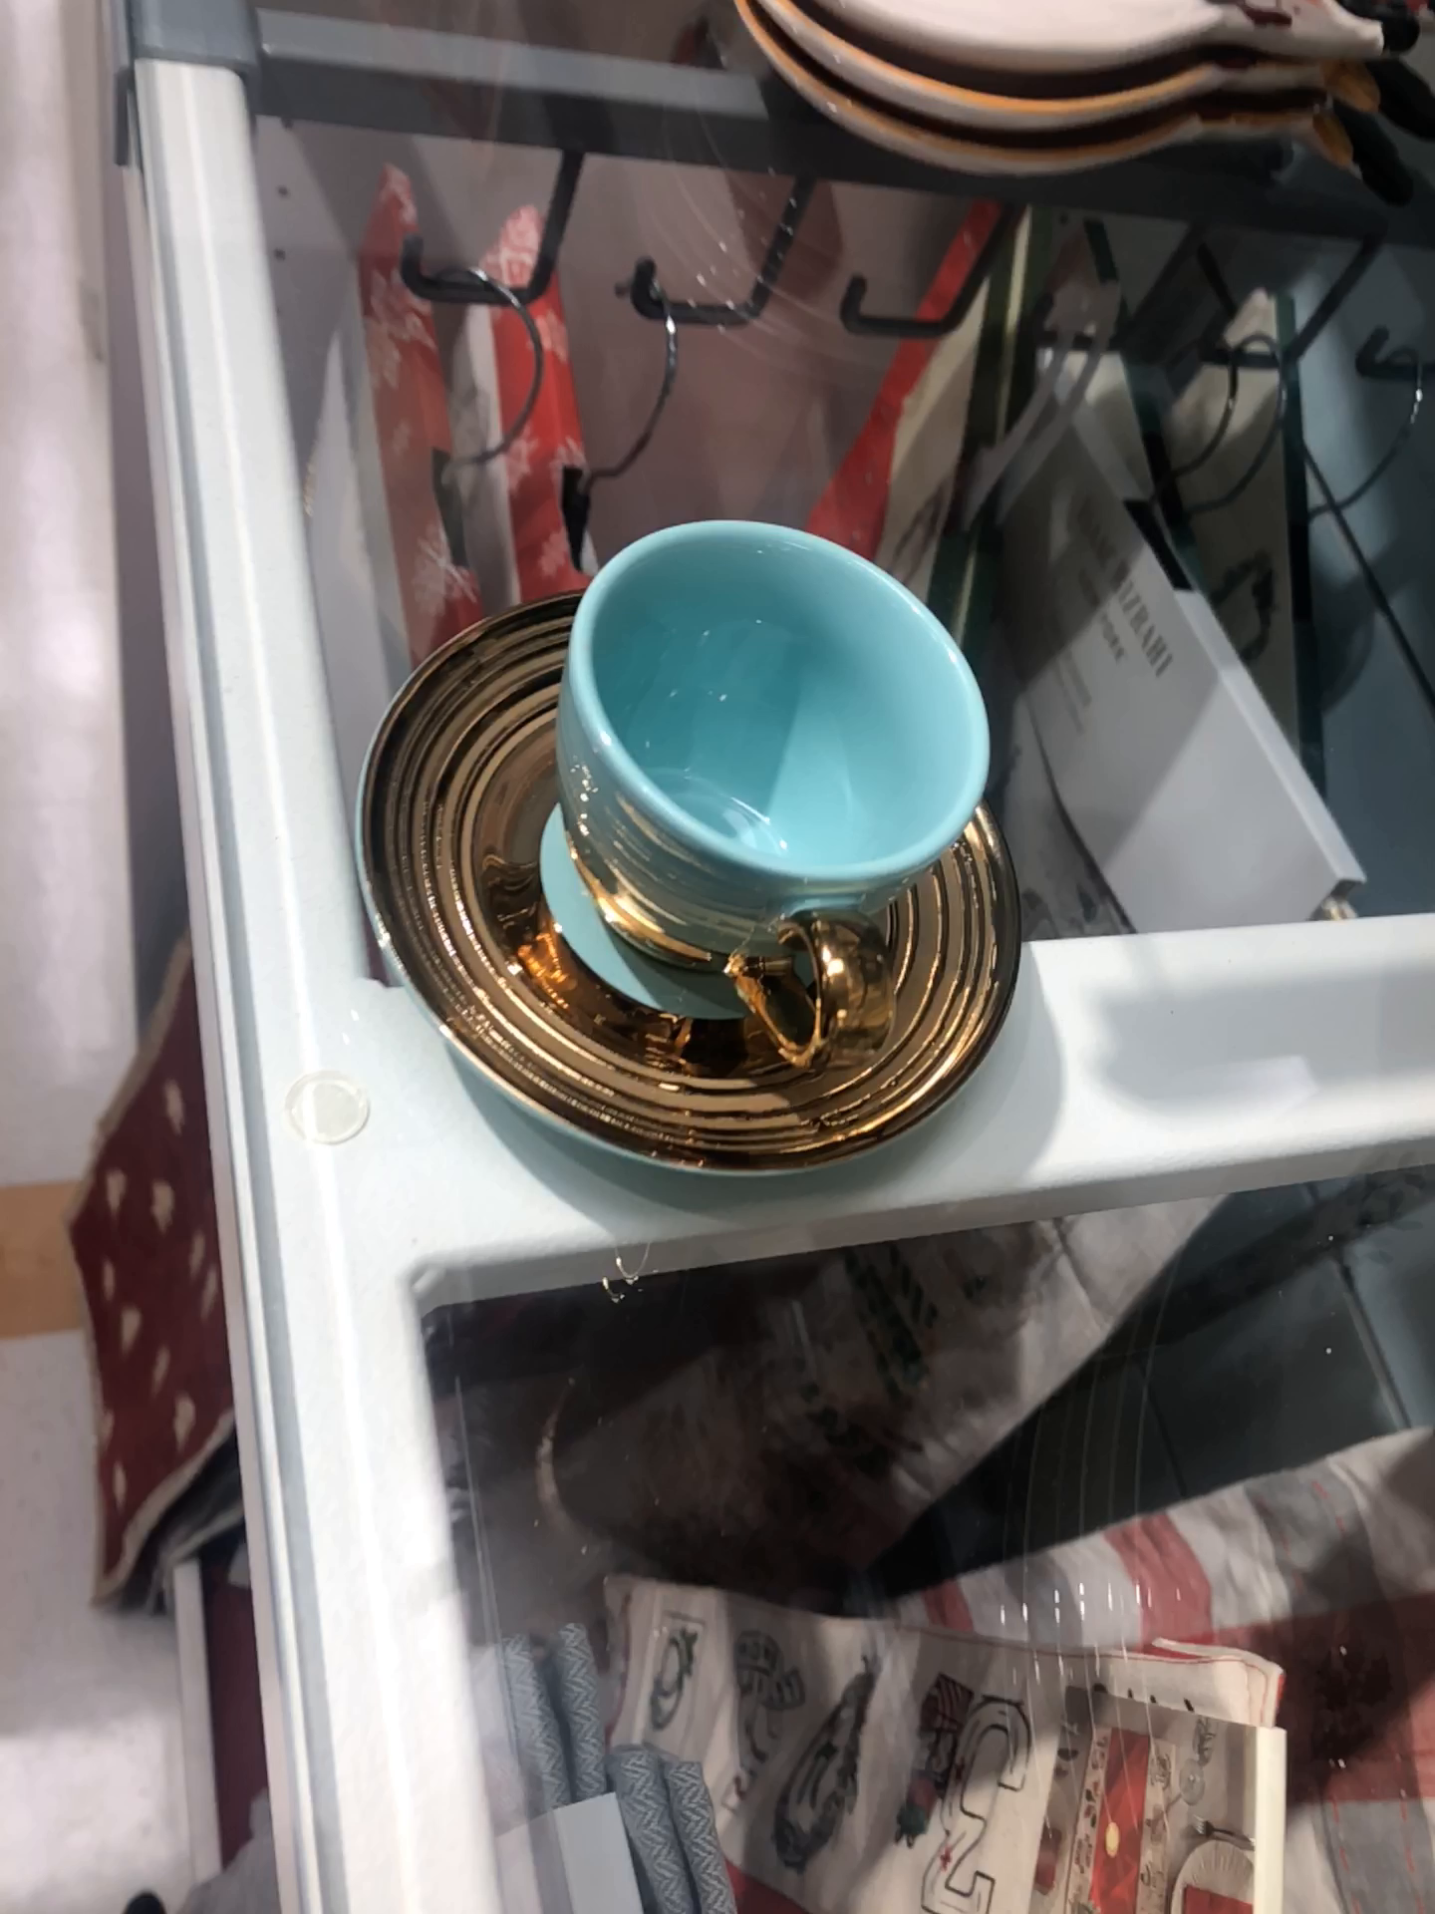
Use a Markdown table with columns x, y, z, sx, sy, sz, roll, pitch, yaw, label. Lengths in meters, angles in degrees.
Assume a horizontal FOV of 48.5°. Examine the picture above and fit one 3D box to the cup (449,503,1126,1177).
| x | y | z | sx | sy | sz | roll | pitch | yaw | label |
| --- | --- | --- | --- | --- | --- | --- | --- | --- | --- |
| 0.005 | -0.020 | 0.244 | 0.070 | 0.050 | 0.084 | -7 | 63 | -22 | cup |
